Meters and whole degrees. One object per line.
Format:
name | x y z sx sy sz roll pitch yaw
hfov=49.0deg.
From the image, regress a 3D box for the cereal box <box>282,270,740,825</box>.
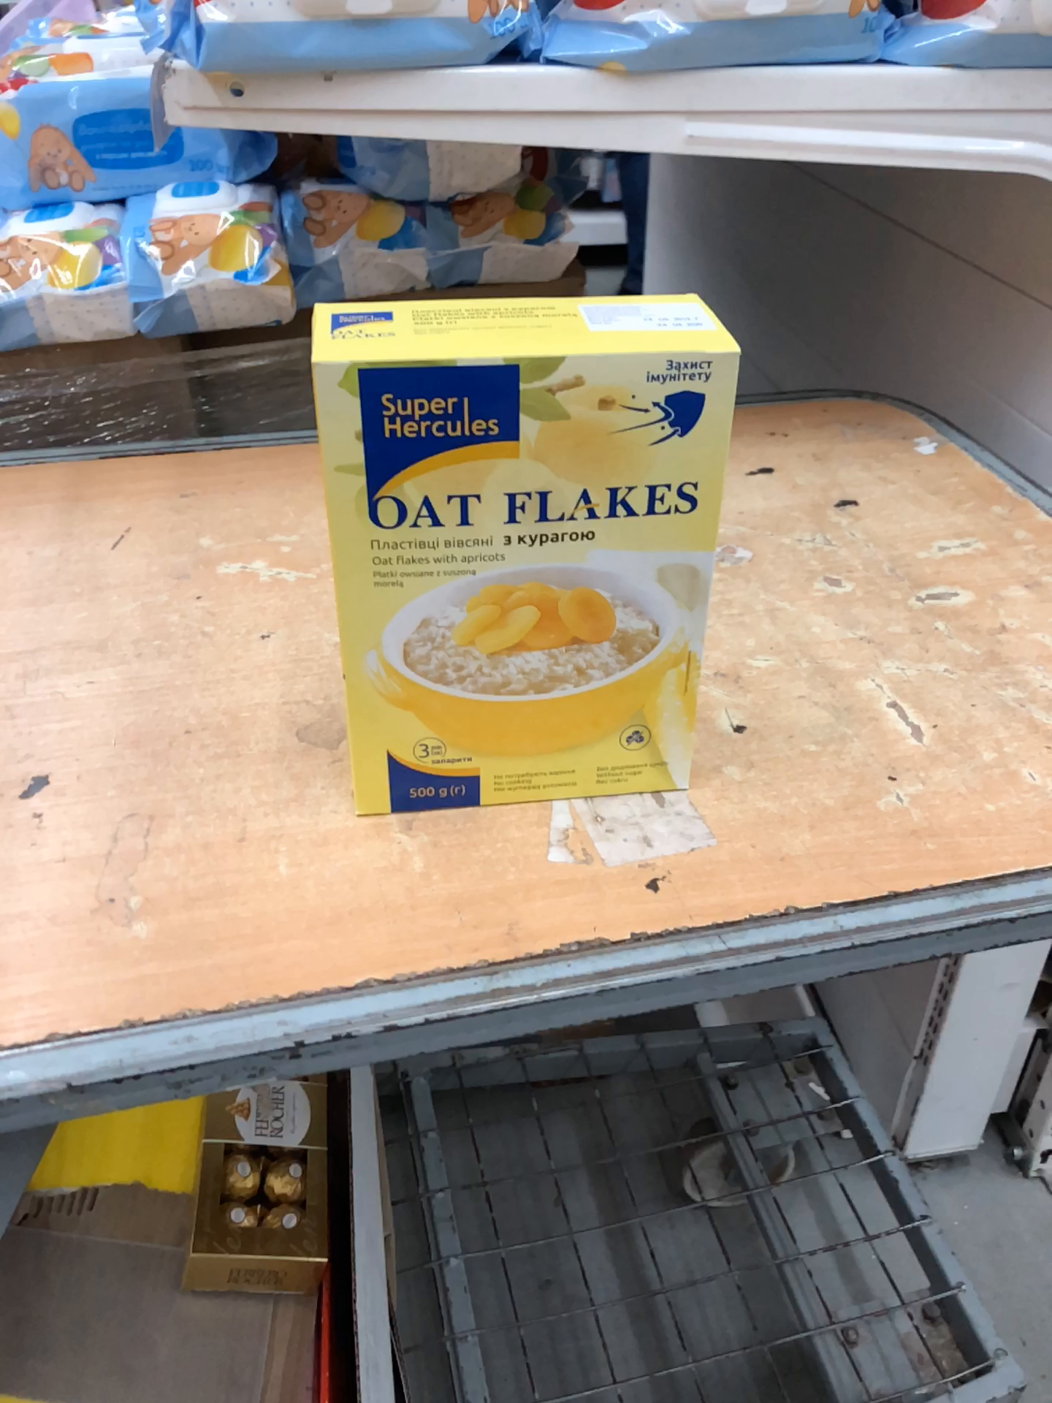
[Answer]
cereal box | -0.008 -0.058 0.466 0.150 0.199 0.081 -4 35 -5
